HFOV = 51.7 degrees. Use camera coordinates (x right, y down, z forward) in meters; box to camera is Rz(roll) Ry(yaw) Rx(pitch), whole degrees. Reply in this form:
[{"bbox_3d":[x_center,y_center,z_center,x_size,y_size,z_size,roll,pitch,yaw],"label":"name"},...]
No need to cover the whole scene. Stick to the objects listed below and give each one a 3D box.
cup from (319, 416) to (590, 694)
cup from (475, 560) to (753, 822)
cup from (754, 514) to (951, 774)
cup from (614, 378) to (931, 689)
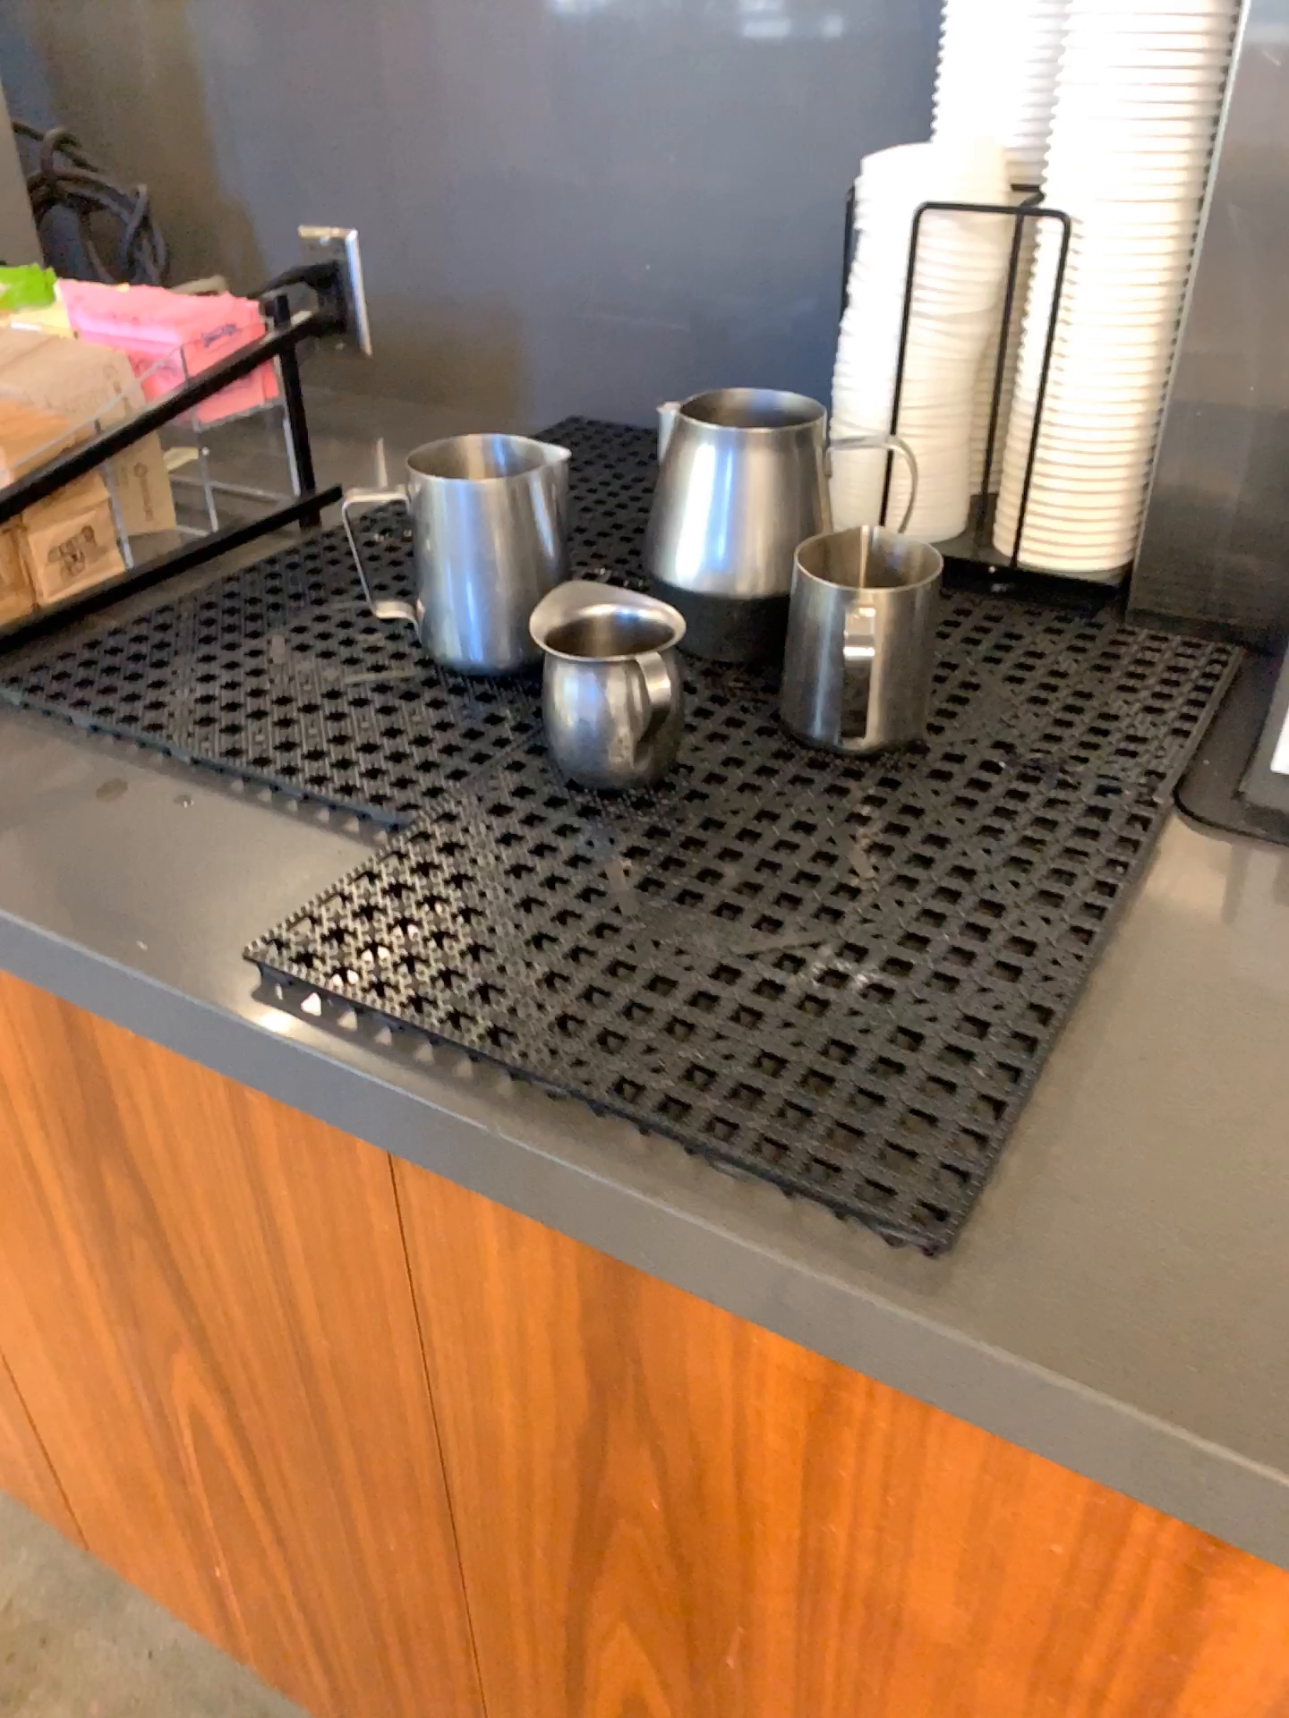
[{"bbox_3d":[-0.100,-0.164,0.708,0.120,0.109,0.081,-11,35,-15],"label":"cup"},{"bbox_3d":[-0.016,-0.080,0.604,0.080,0.060,0.121,-15,36,-21],"label":"cup"},{"bbox_3d":[0.096,-0.105,0.630,0.080,0.080,0.111,3,34,6],"label":"cup"},{"bbox_3d":[0.071,-0.181,0.731,0.150,0.129,0.101,7,34,13],"label":"cup"}]
